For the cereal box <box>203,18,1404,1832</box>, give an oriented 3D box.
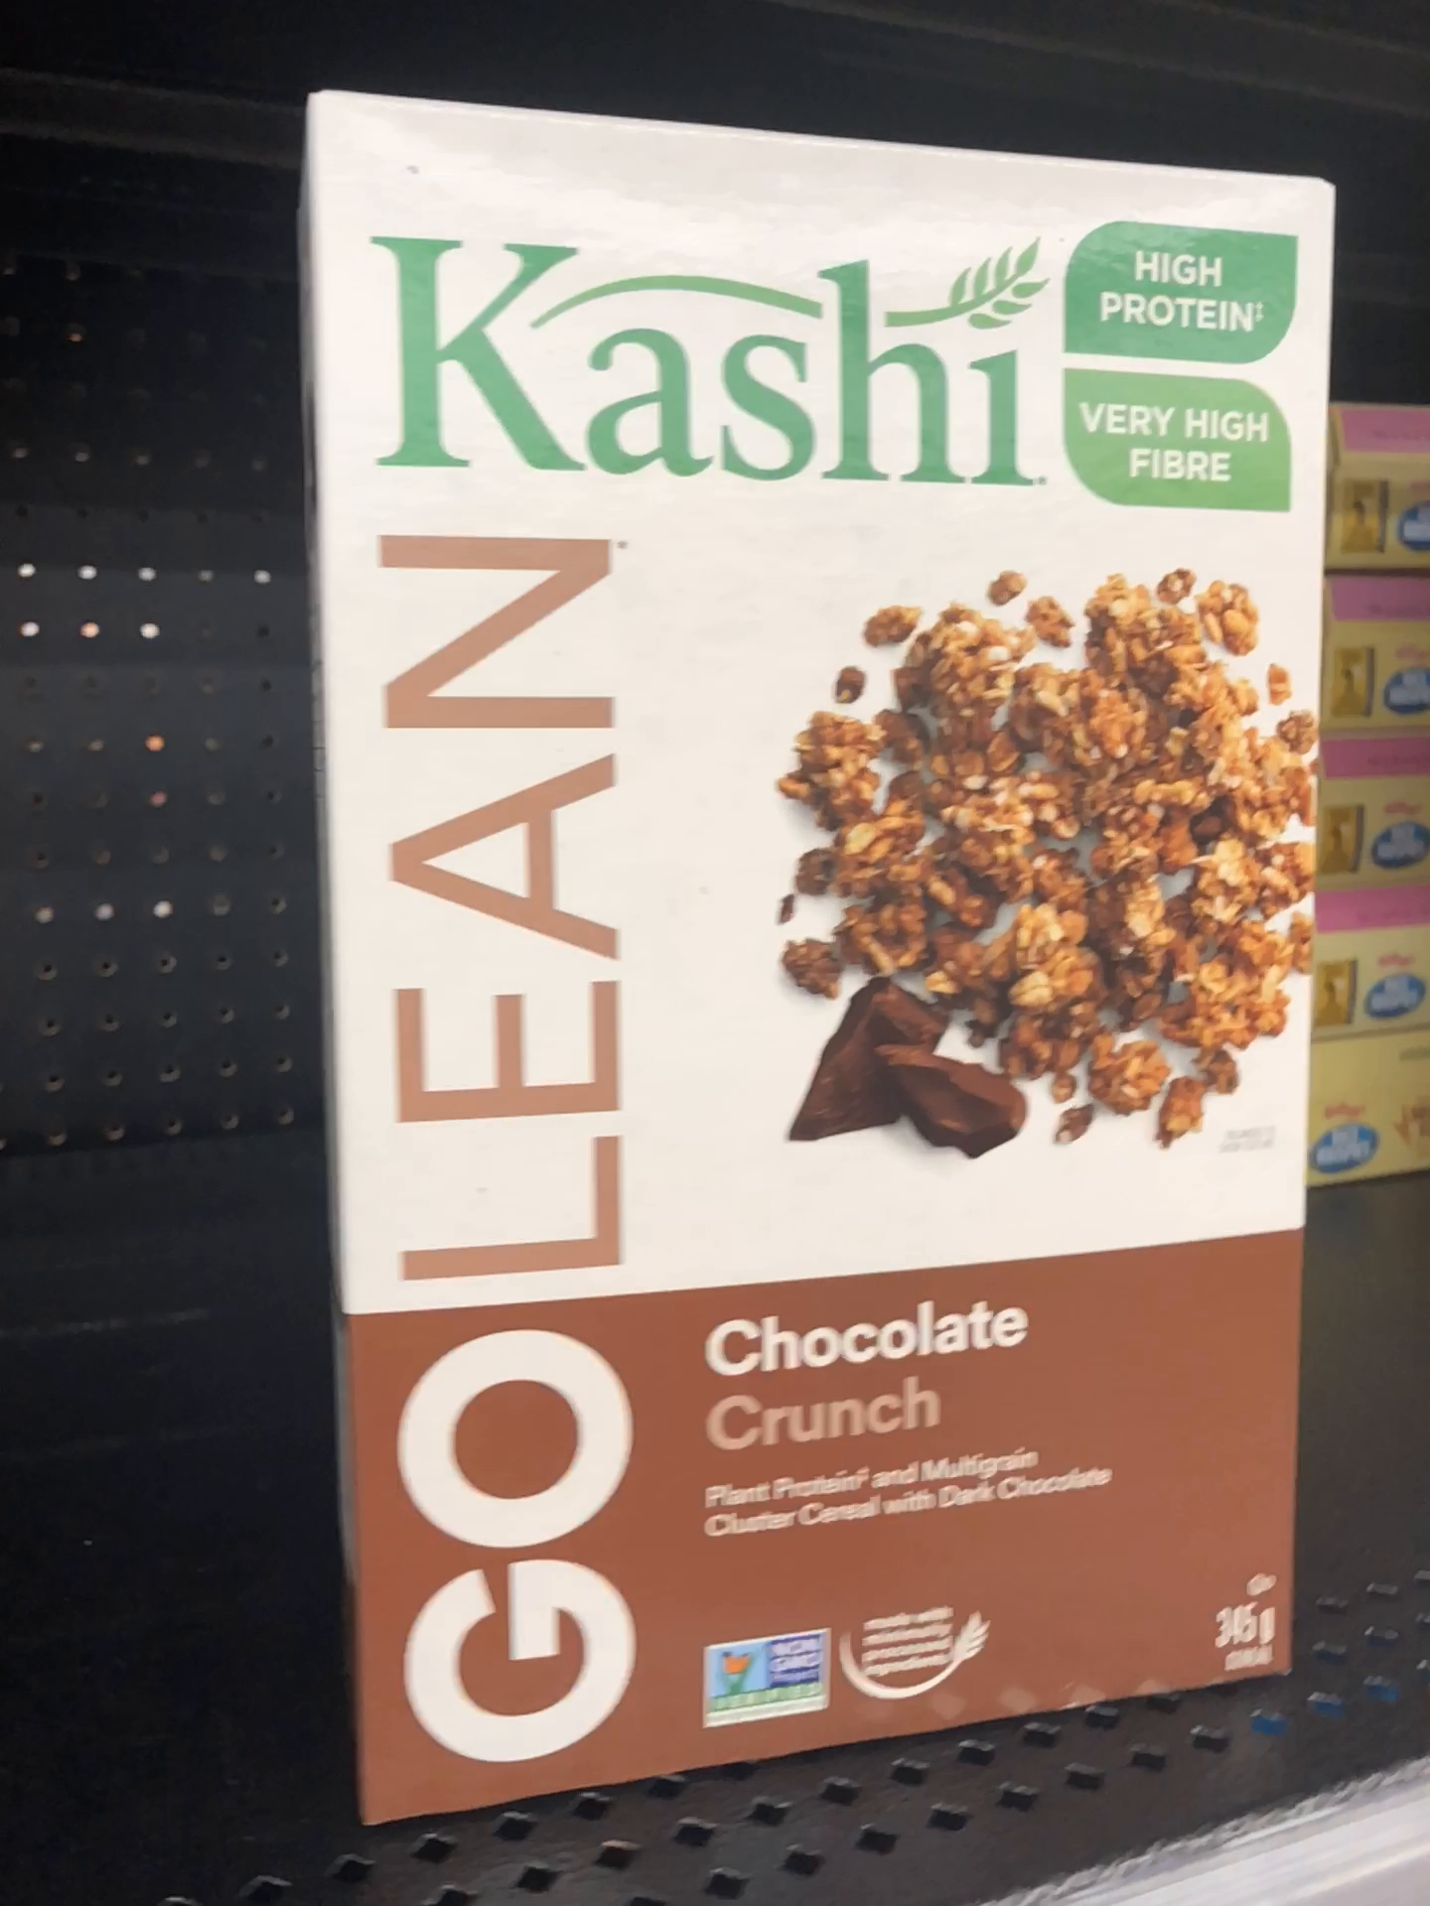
[{"bbox_3d":[0.015,-0.002,0.266,0.180,0.250,0.050,-2,6,-15],"label":"cereal box"}]
